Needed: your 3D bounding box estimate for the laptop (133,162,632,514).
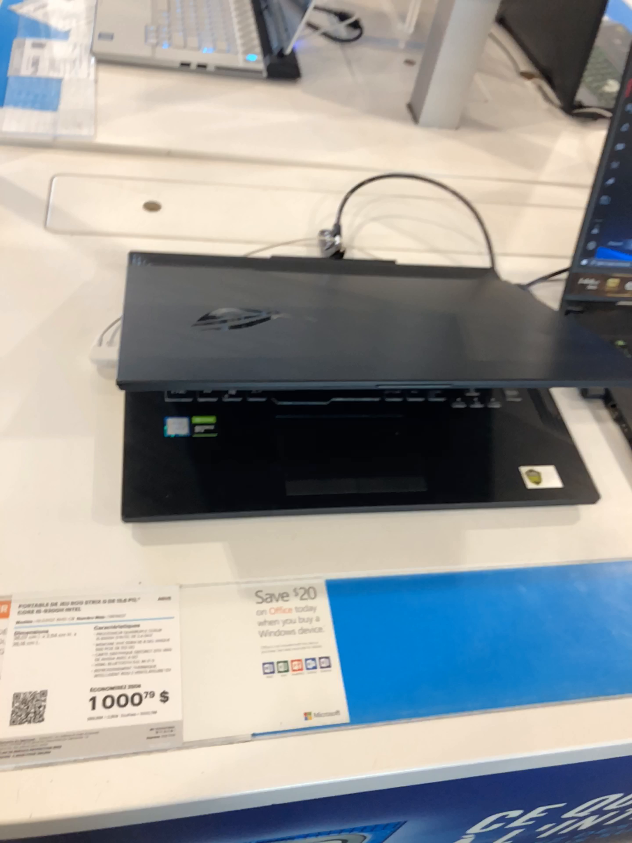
[{"bbox_3d":[0.036,-0.076,0.541,0.331,0.097,0.264,-1,51,-11],"label":"laptop"}]
